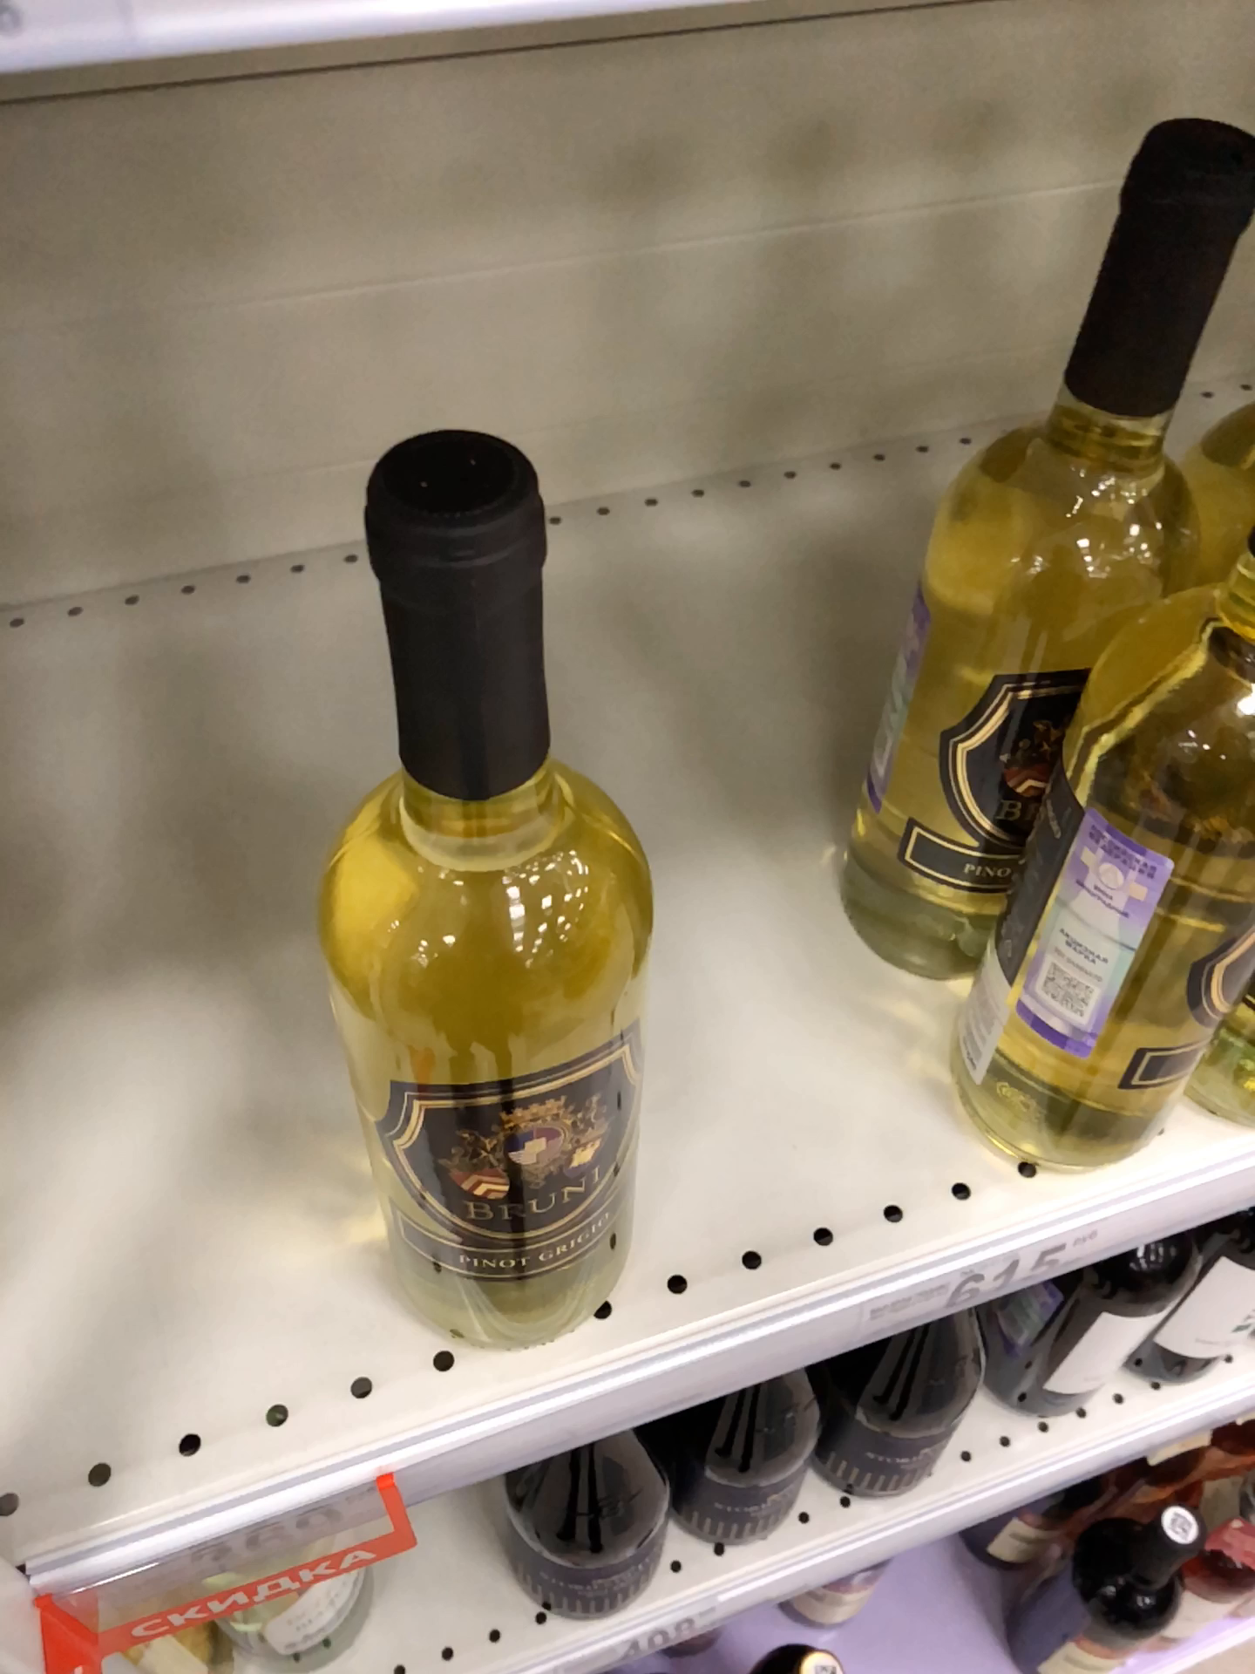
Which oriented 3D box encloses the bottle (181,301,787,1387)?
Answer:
[{"bbox_3d":[-0.031,0.032,0.333,0.080,0.288,0.080,1,50,-2],"label":"bottle"}]
